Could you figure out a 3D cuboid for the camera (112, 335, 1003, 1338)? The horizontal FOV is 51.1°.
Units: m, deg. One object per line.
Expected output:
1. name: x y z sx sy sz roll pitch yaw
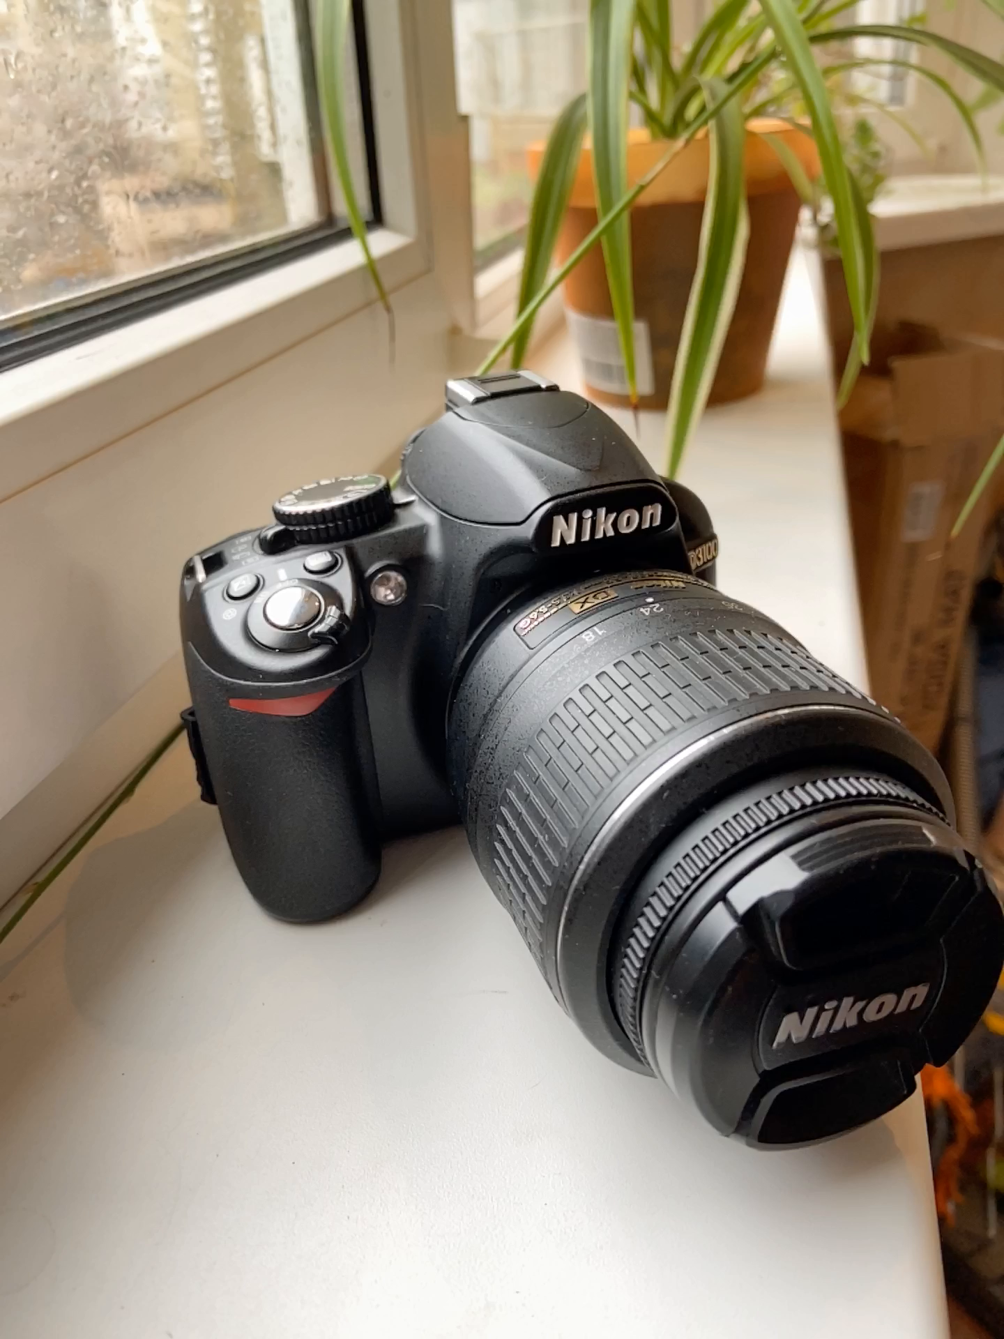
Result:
1. camera: 0.005 0.004 0.200 0.124 0.091 0.155 -13 30 -17
